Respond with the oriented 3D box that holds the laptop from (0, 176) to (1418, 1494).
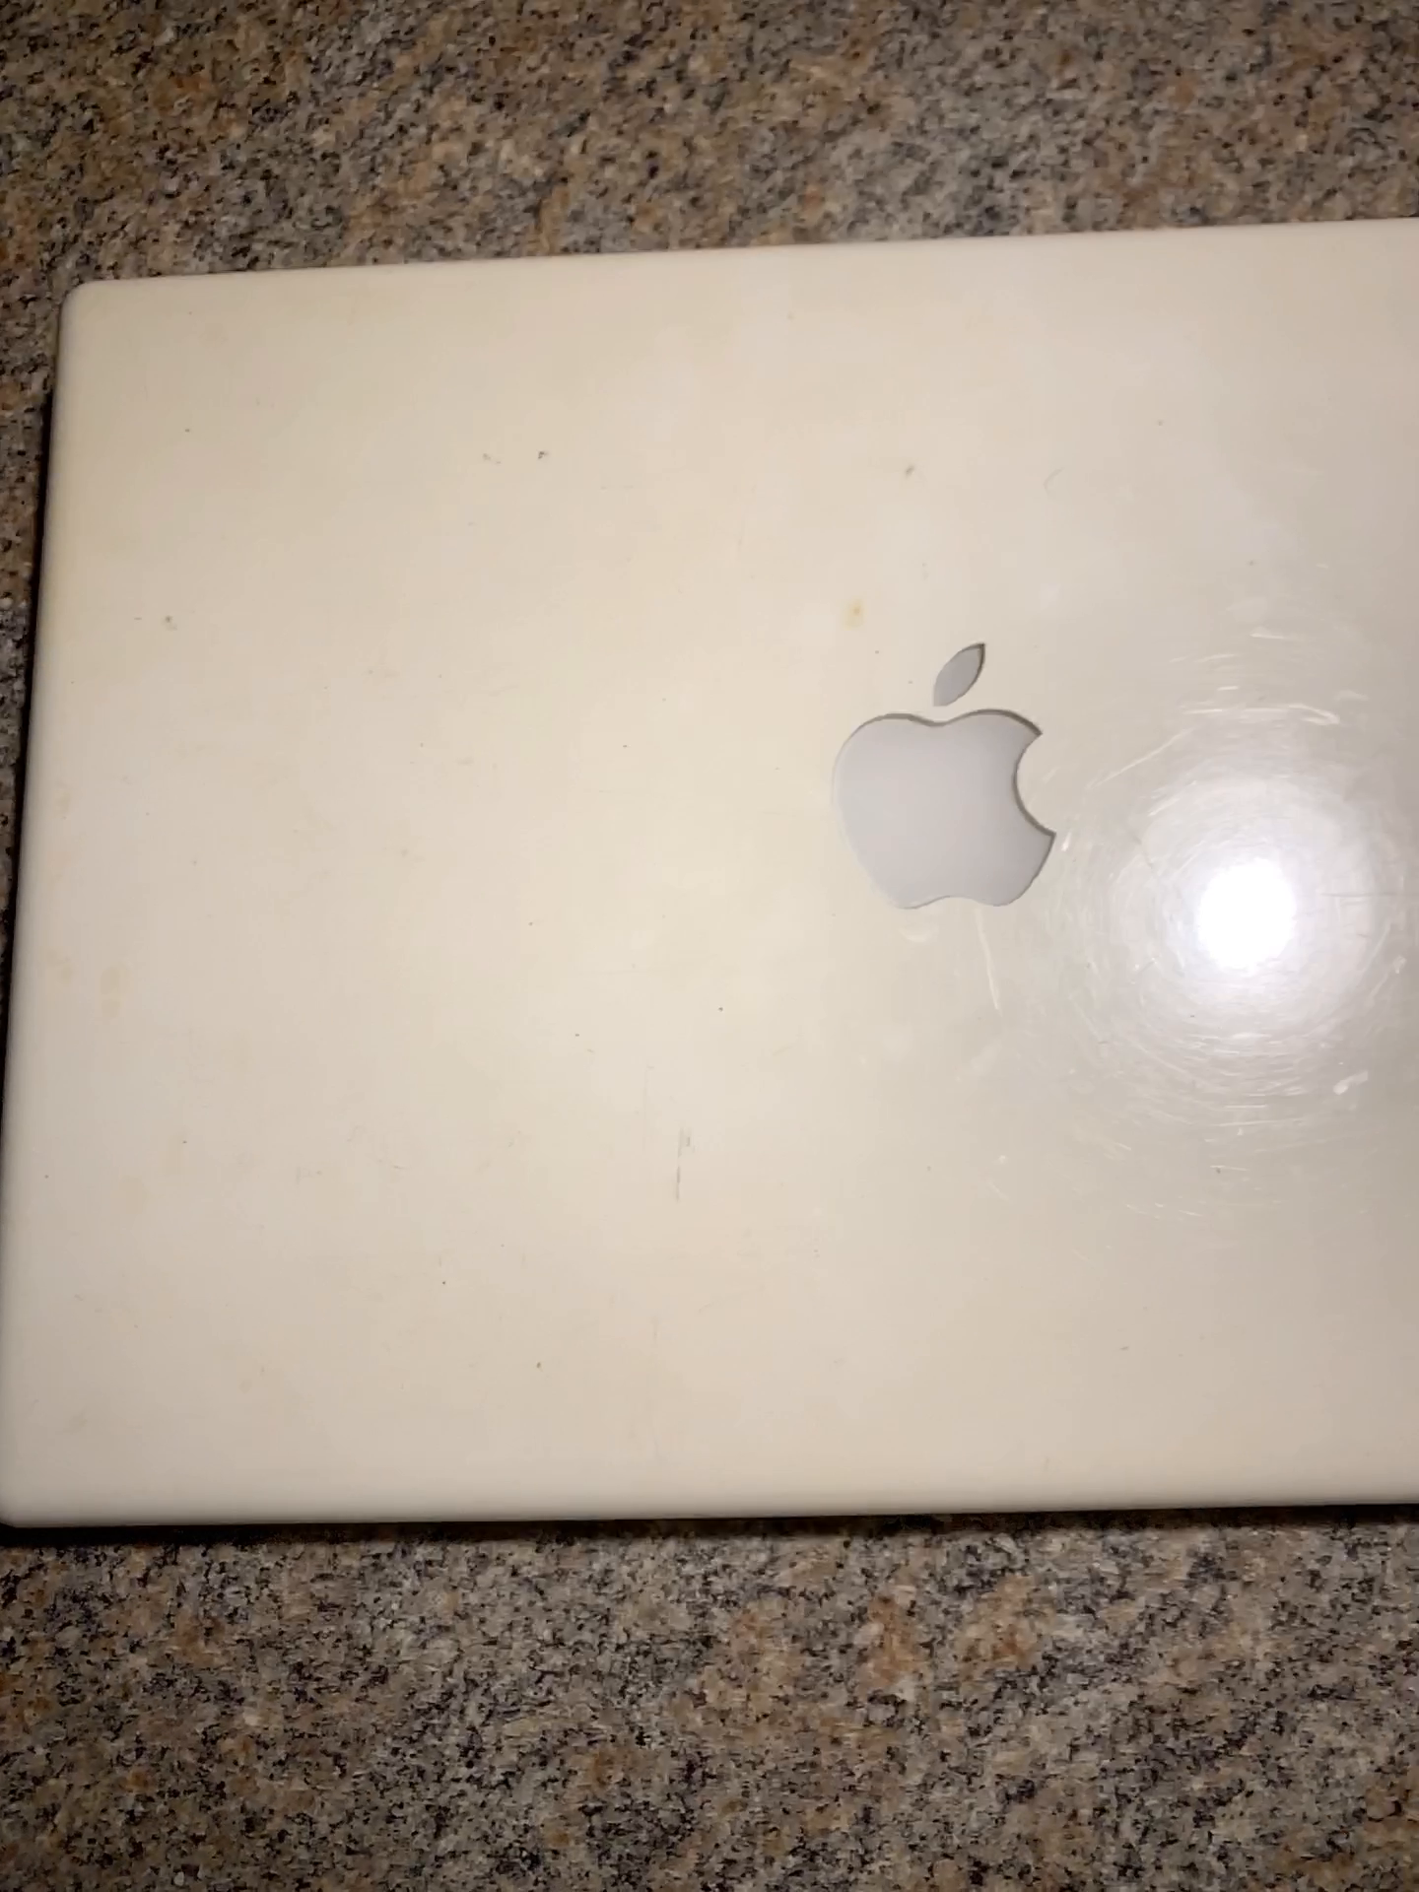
[{"bbox_3d":[0.035,-0.021,0.235,0.305,0.002,0.205,-2,77,6],"label":"laptop"}]
